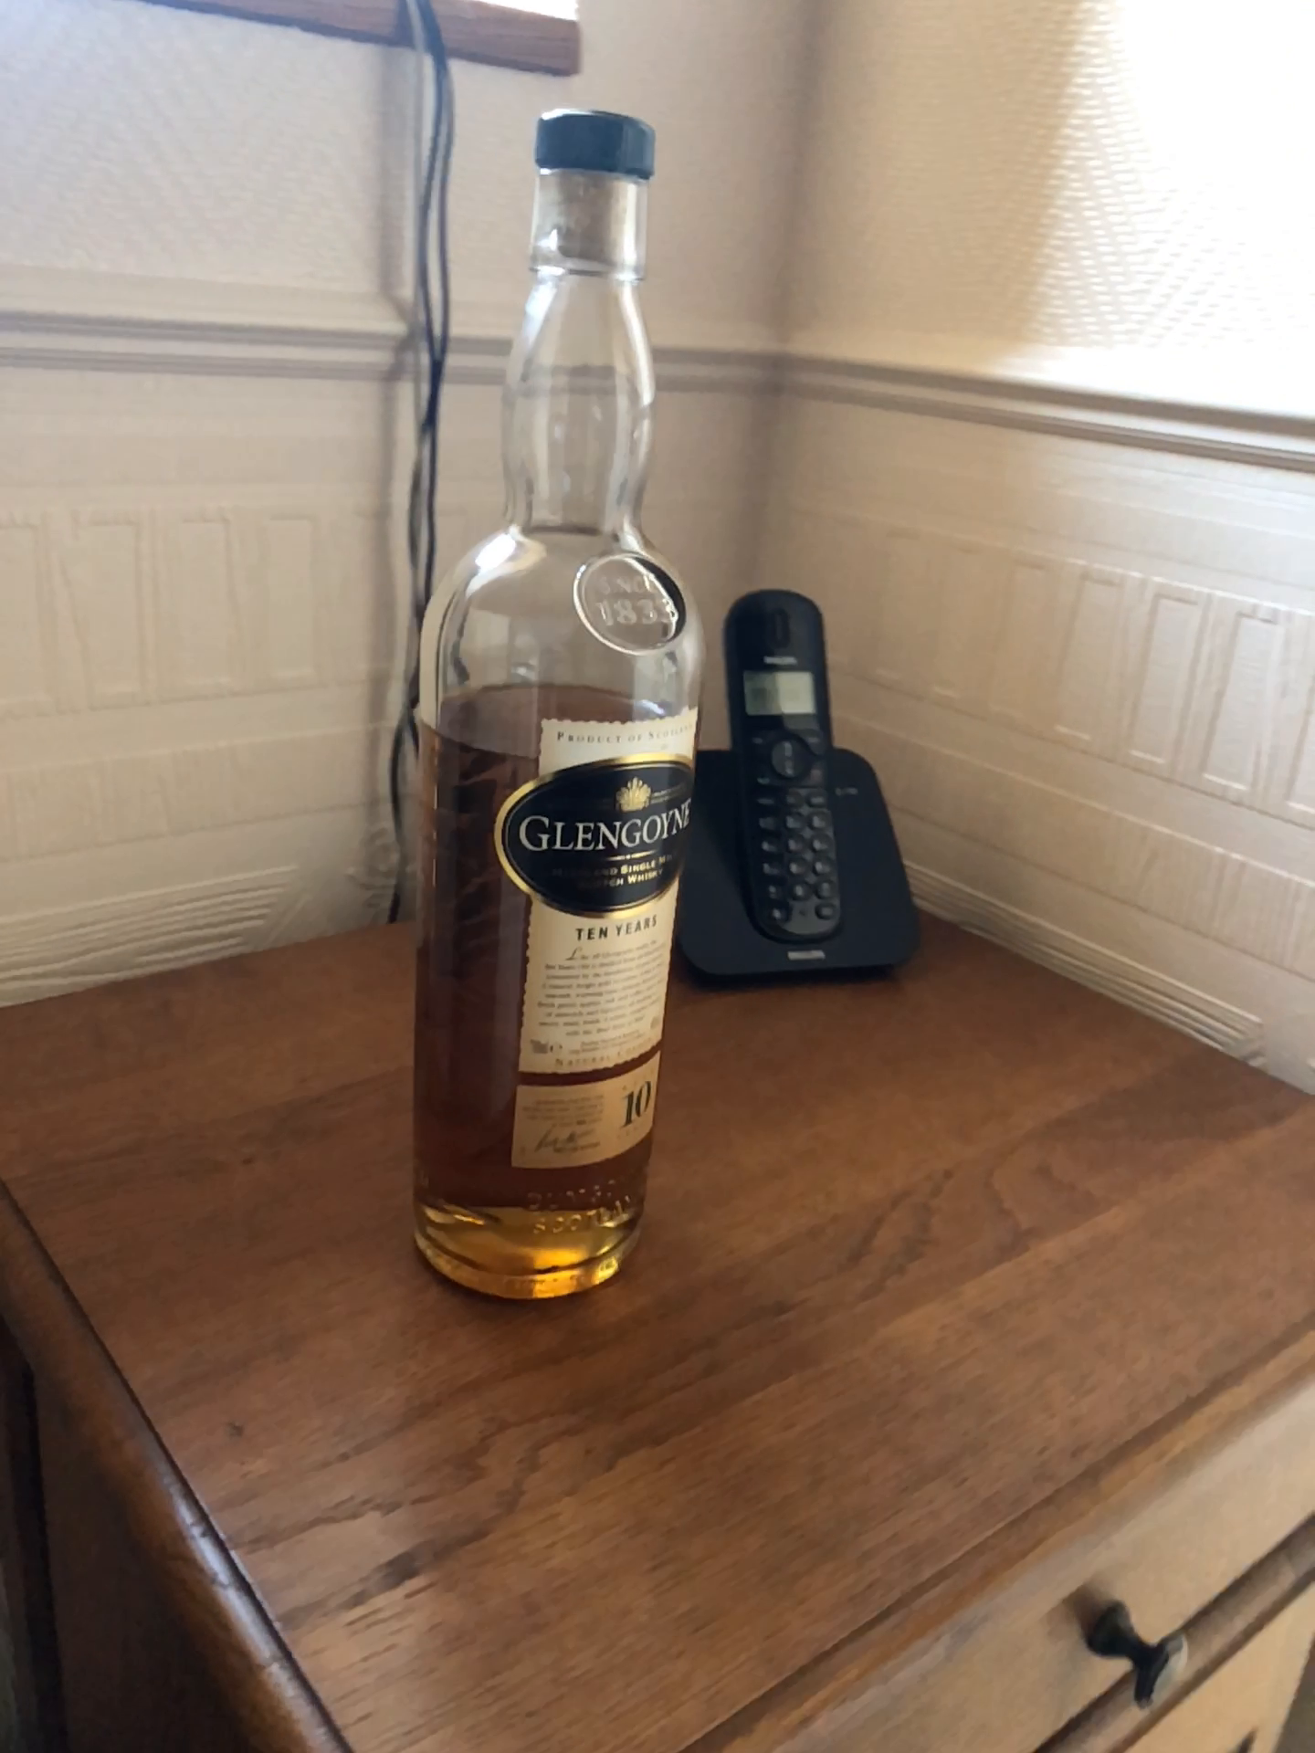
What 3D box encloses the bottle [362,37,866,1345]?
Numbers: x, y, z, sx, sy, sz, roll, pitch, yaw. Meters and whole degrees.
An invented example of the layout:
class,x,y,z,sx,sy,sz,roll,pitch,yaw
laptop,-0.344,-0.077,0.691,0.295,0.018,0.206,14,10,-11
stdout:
class,x,y,z,sx,sy,sz,roll,pitch,yaw
bottle,-0.023,-0.039,0.400,0.090,0.318,0.080,-10,26,-34
